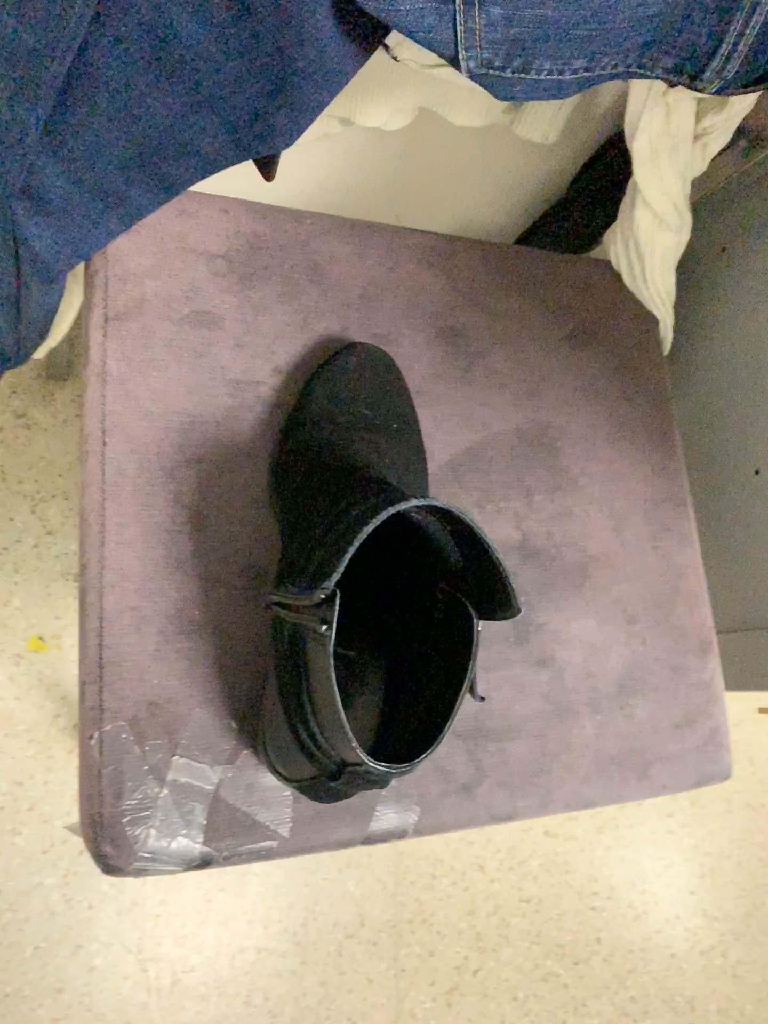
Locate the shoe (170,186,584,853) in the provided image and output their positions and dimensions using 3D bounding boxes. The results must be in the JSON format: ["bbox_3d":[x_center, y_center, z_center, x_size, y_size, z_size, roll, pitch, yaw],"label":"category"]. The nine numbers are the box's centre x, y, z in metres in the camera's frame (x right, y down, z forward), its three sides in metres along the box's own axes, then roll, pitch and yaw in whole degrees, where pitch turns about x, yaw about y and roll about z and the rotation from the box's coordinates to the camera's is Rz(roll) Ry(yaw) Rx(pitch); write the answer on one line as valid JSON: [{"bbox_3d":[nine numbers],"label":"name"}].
[{"bbox_3d":[-0.004,0.007,0.389,0.105,0.135,0.266,20,70,-18],"label":"shoe"}]
